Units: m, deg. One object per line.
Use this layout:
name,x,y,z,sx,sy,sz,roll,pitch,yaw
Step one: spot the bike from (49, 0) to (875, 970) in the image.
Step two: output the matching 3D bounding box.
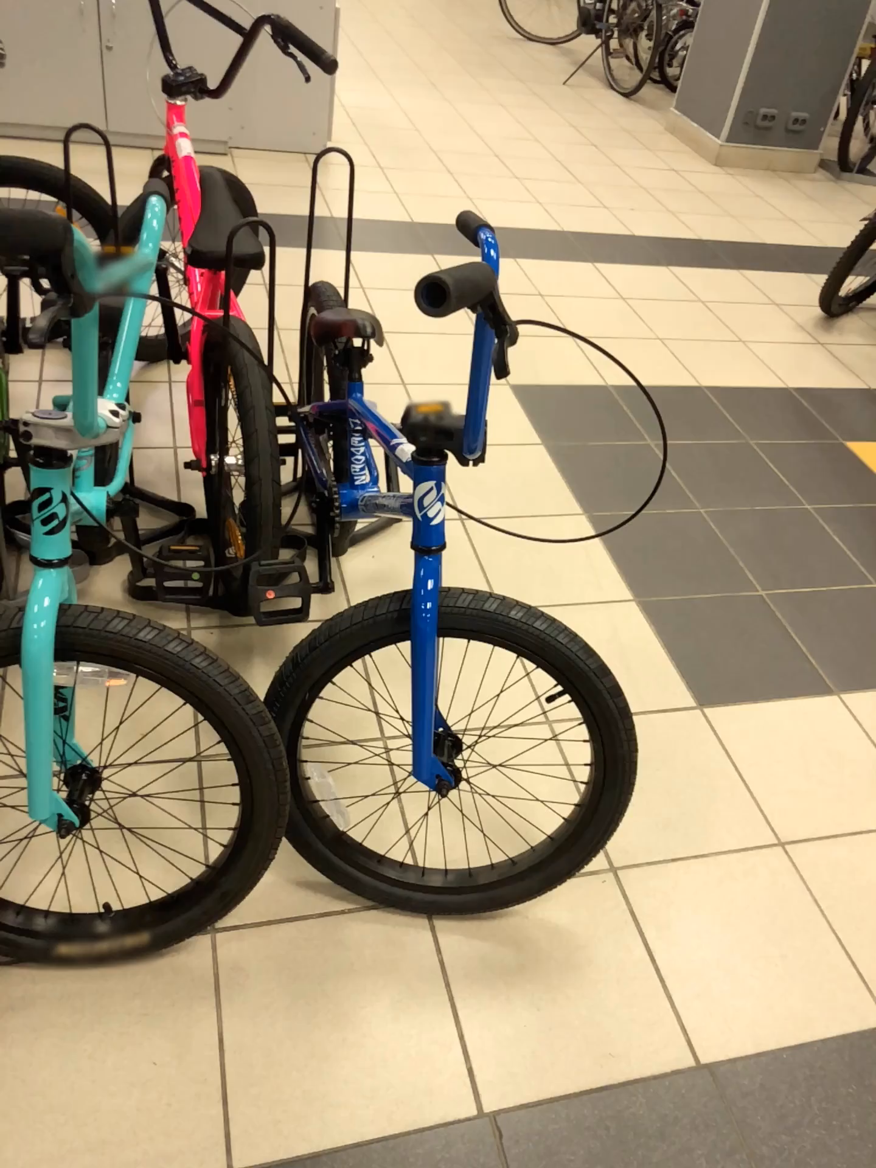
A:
bike,-0.034,-0.275,1.527,0.822,0.961,1.262,-8,41,-23
